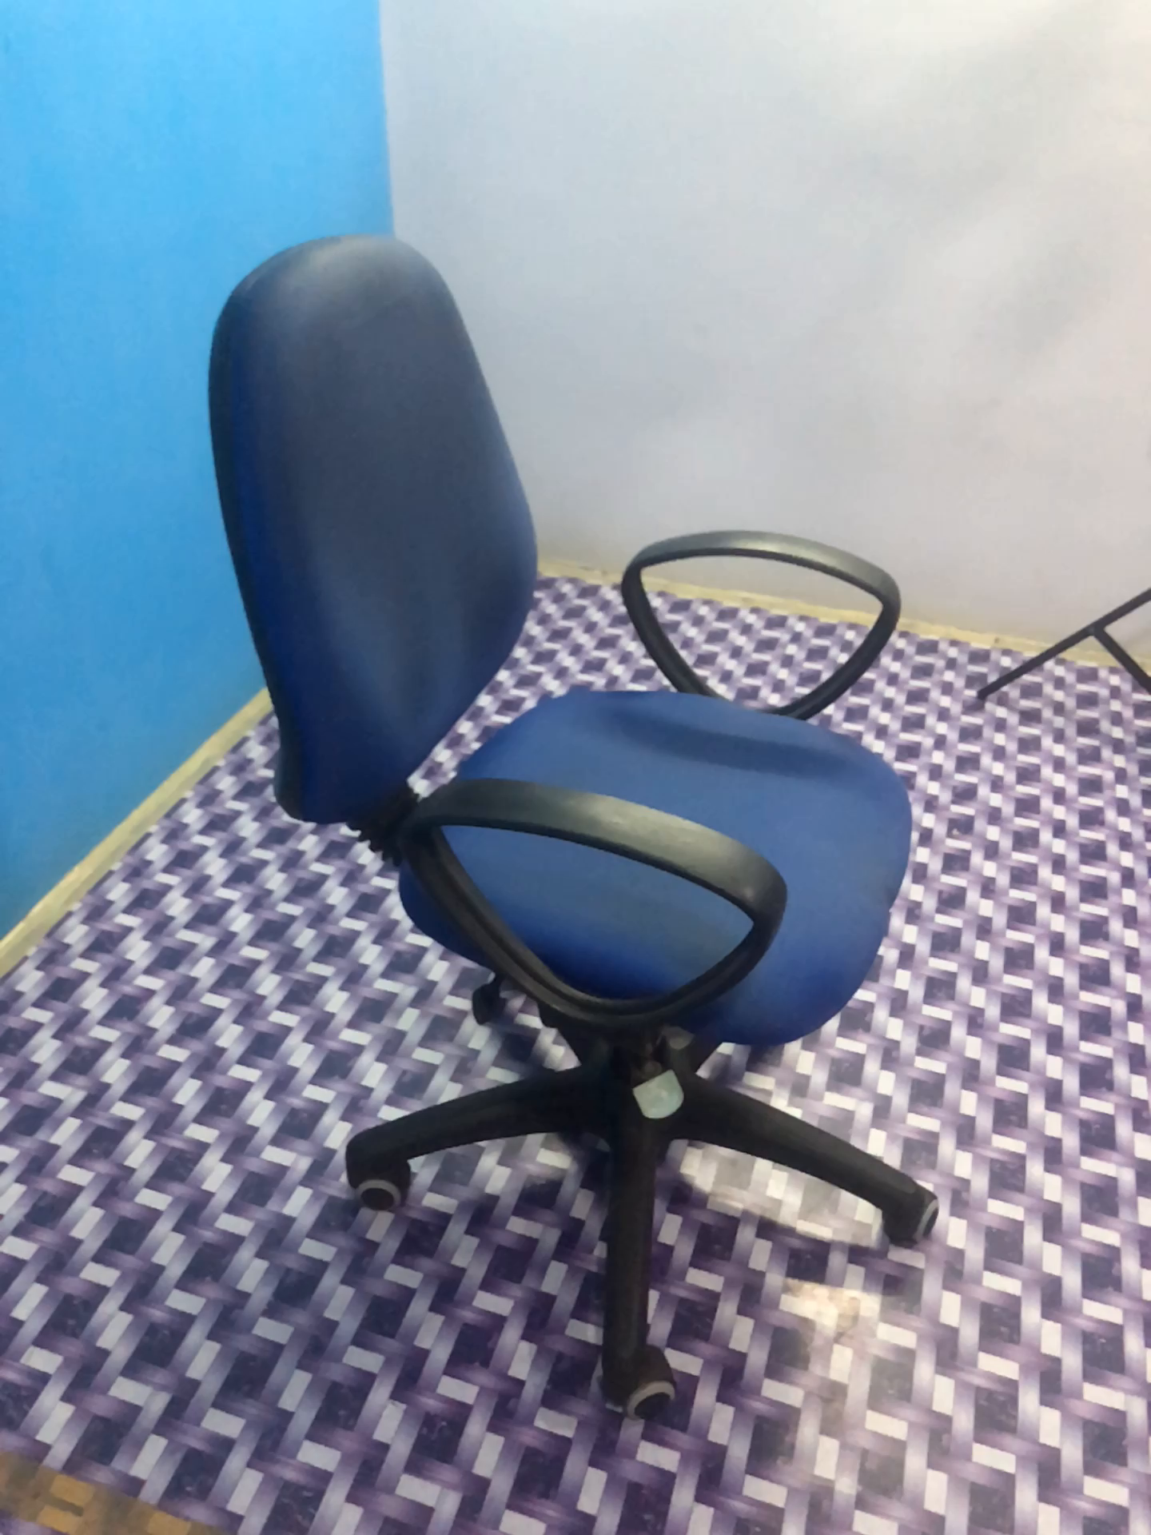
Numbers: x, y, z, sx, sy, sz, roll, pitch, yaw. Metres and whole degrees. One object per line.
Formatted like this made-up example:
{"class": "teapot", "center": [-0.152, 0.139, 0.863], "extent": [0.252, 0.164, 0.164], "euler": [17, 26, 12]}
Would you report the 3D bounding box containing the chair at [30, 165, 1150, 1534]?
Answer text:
{"class": "chair", "center": [0.118, 0.010, 1.136], "extent": [0.670, 0.875, 0.704], "euler": [10, 34, 14]}
